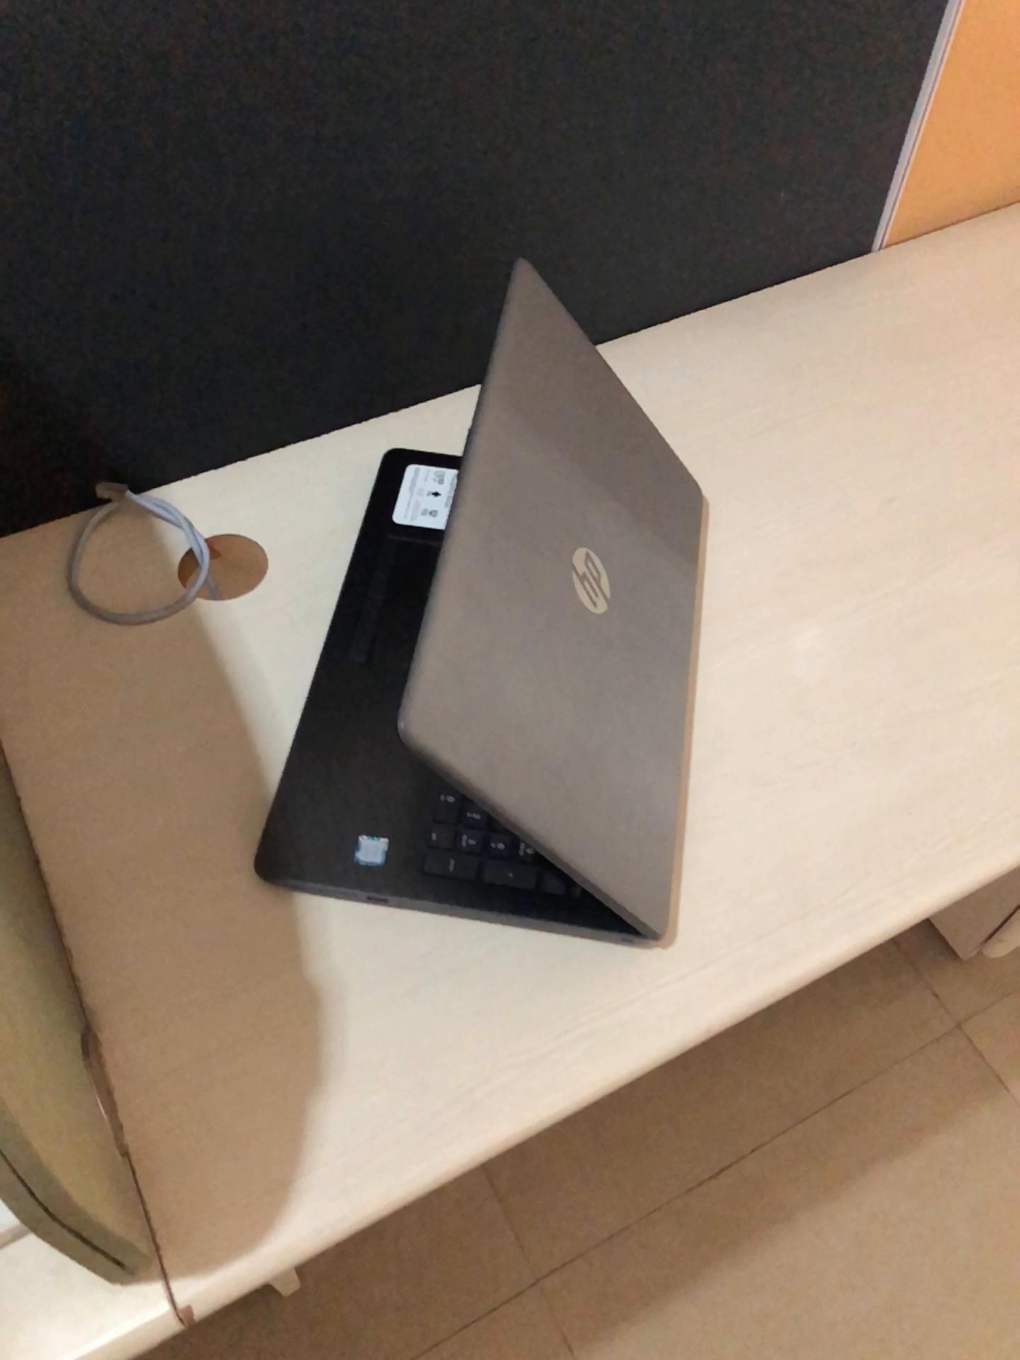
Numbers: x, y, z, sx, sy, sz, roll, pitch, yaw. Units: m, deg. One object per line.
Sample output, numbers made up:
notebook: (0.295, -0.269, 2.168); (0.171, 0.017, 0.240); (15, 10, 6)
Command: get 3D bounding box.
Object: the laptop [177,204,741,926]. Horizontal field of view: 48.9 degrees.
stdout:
laptop: (-0.006, -0.078, 0.694); (0.246, 0.204, 0.363); (9, 56, 2)
